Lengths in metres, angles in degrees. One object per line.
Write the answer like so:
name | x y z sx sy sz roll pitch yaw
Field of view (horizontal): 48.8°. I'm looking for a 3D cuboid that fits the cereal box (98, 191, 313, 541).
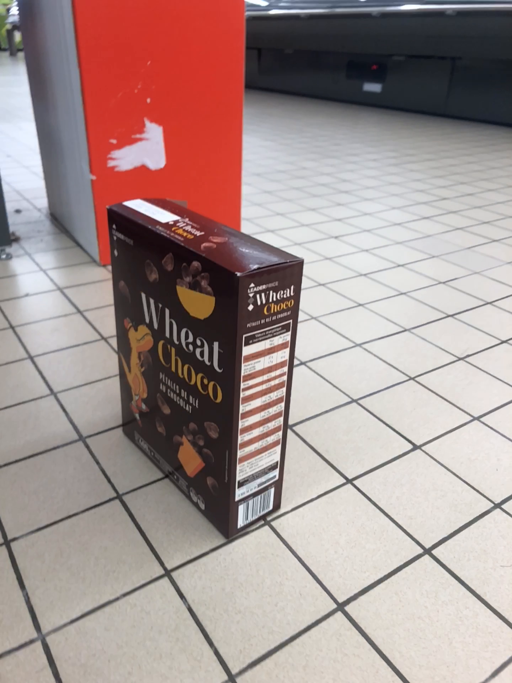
cereal box | -0.054 0.014 0.516 0.070 0.249 0.200 -20 36 -35
